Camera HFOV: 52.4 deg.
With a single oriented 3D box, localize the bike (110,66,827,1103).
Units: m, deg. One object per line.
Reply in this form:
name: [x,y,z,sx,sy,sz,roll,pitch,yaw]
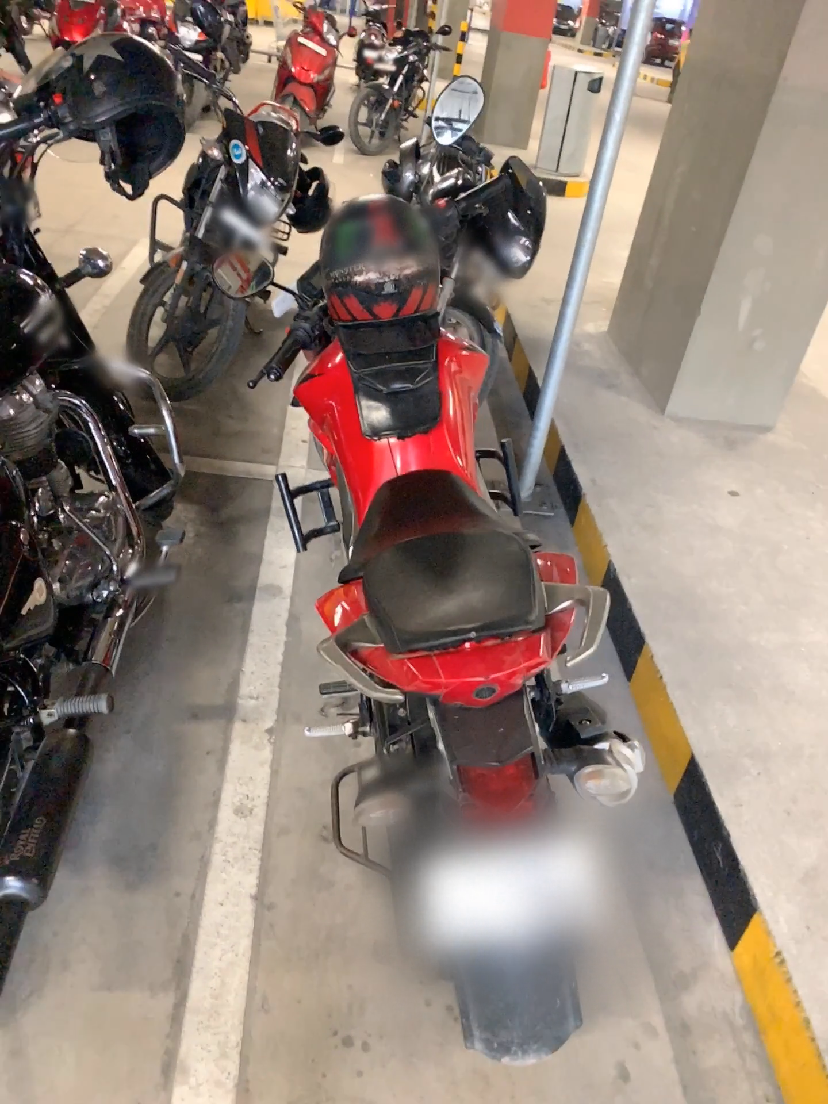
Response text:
bike: [-0.190,-0.112,1.642,0.677,1.122,1.690,-2,37,-18]
